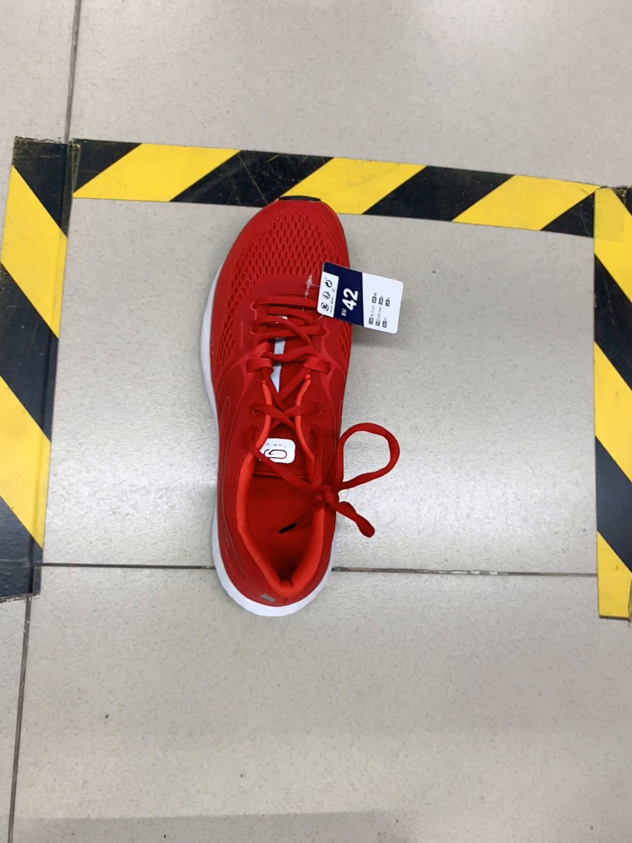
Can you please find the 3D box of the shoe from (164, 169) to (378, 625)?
[{"bbox_3d":[-0.030,-0.013,0.450,0.120,0.090,0.280,3,82,-7],"label":"shoe"}]
